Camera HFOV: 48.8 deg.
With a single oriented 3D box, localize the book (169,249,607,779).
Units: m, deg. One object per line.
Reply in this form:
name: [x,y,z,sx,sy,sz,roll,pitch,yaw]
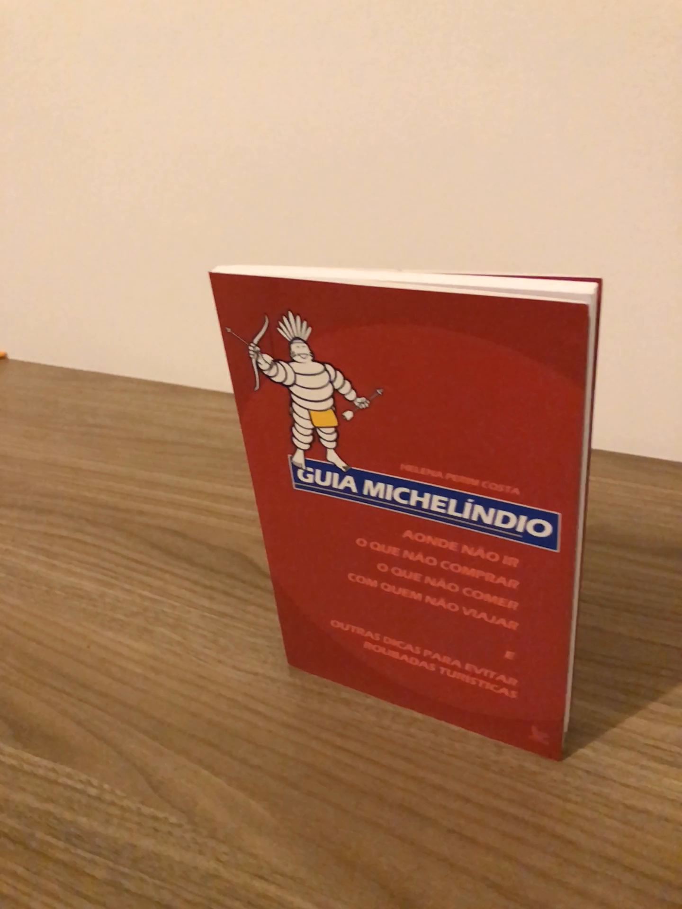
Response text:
book: [0.021,0.030,0.305,0.150,0.218,0.020,10,36,27]
